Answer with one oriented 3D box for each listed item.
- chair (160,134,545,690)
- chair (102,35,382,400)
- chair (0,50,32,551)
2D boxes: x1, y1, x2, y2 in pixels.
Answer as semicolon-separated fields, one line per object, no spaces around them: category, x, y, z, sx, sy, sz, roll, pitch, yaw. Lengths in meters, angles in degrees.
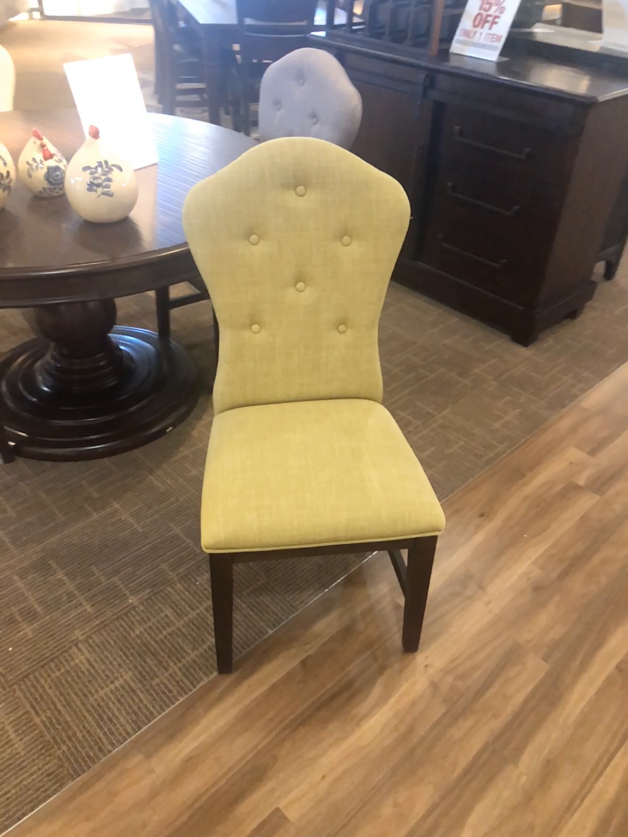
chair;-0.008;-0.010;1.471;0.538;0.979;0.618;-4;38;-9
chair;-0.226;-0.678;2.285;0.637;0.949;0.510;-25;45;-32
chair;-1.157;-0.292;1.664;0.576;0.959;0.520;-22;44;-29
